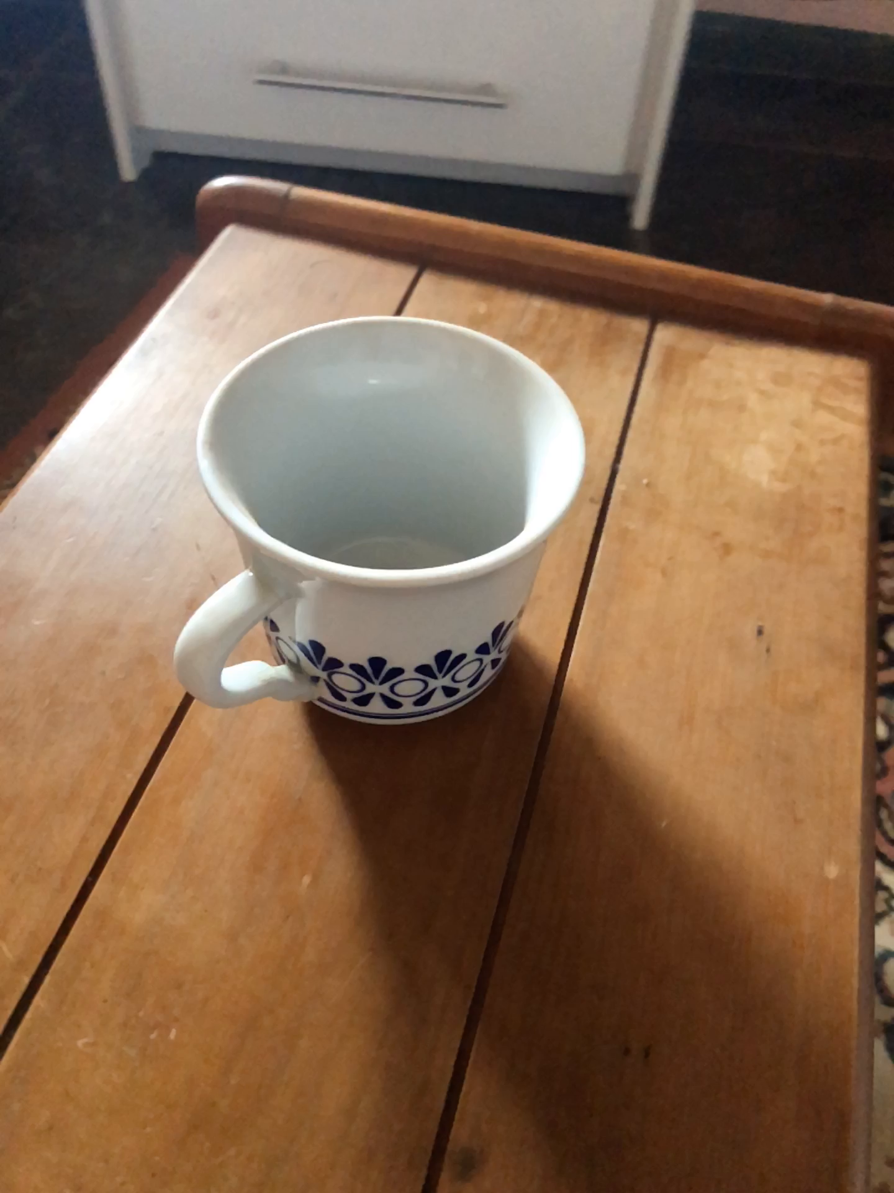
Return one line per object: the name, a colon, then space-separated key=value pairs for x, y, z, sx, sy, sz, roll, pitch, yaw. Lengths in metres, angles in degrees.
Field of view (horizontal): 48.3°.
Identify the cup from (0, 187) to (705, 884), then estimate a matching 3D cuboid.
cup: x=-0.021 y=-0.023 z=0.249 sx=0.100 sy=0.079 sz=0.131 roll=34 pitch=55 yaw=22
